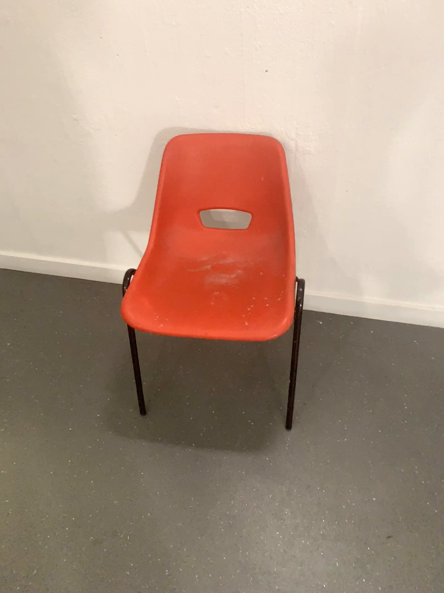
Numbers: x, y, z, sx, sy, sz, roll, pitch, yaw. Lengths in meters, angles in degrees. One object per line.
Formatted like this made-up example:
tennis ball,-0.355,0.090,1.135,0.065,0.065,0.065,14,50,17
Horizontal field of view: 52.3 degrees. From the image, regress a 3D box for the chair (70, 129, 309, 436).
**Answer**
chair,-0.011,-0.037,1.407,0.510,0.713,0.596,3,47,9
